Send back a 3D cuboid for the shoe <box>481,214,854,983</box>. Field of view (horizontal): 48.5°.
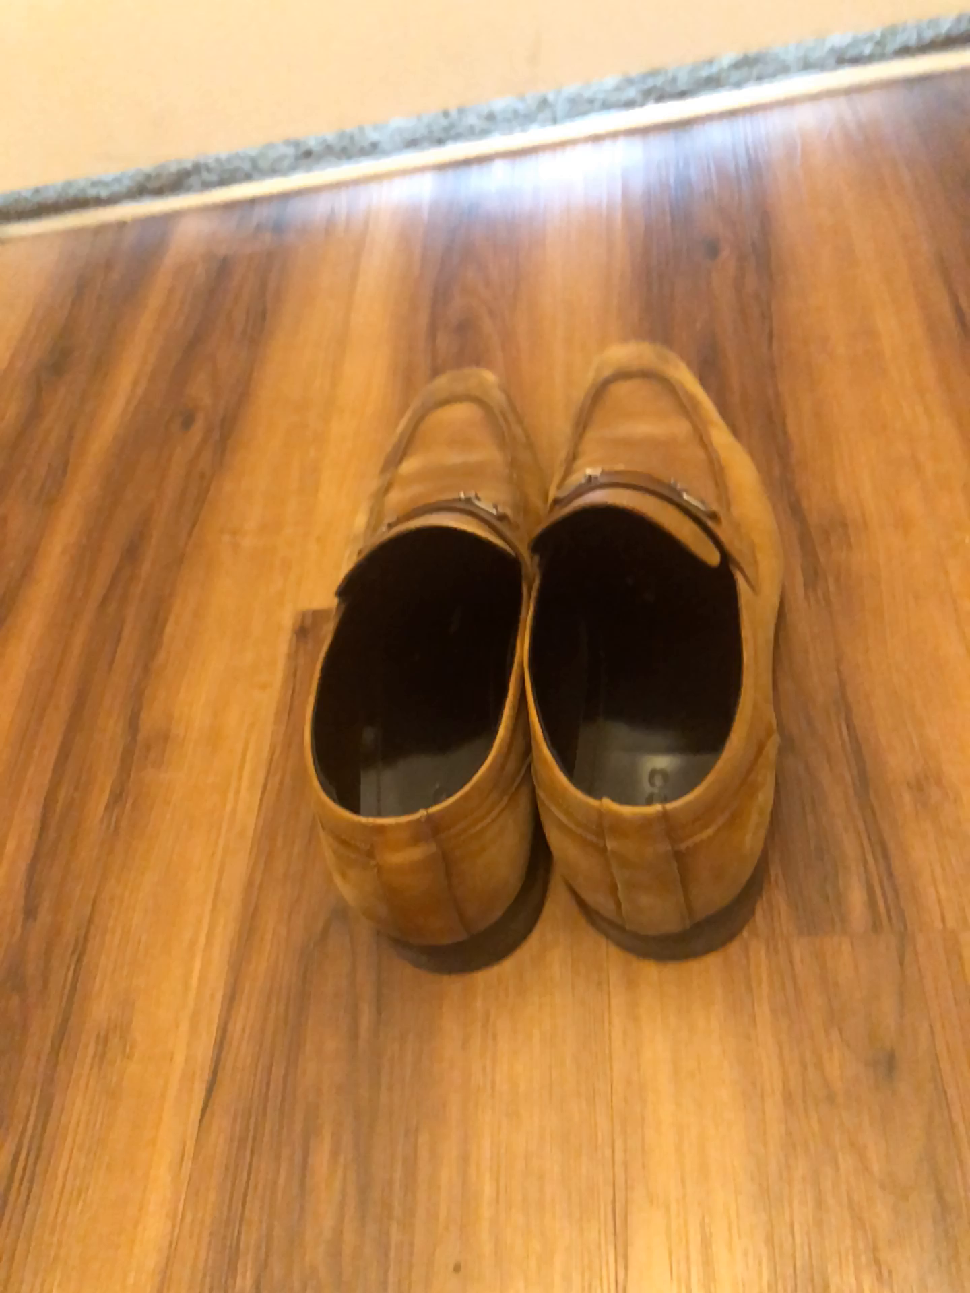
[{"bbox_3d":[0.071,-0.033,0.445,0.106,0.112,0.308,-5,53,12],"label":"shoe"}]

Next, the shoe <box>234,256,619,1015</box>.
[{"bbox_3d":[-0.017,-0.020,0.460,0.106,0.112,0.308,-8,52,9],"label":"shoe"}]
